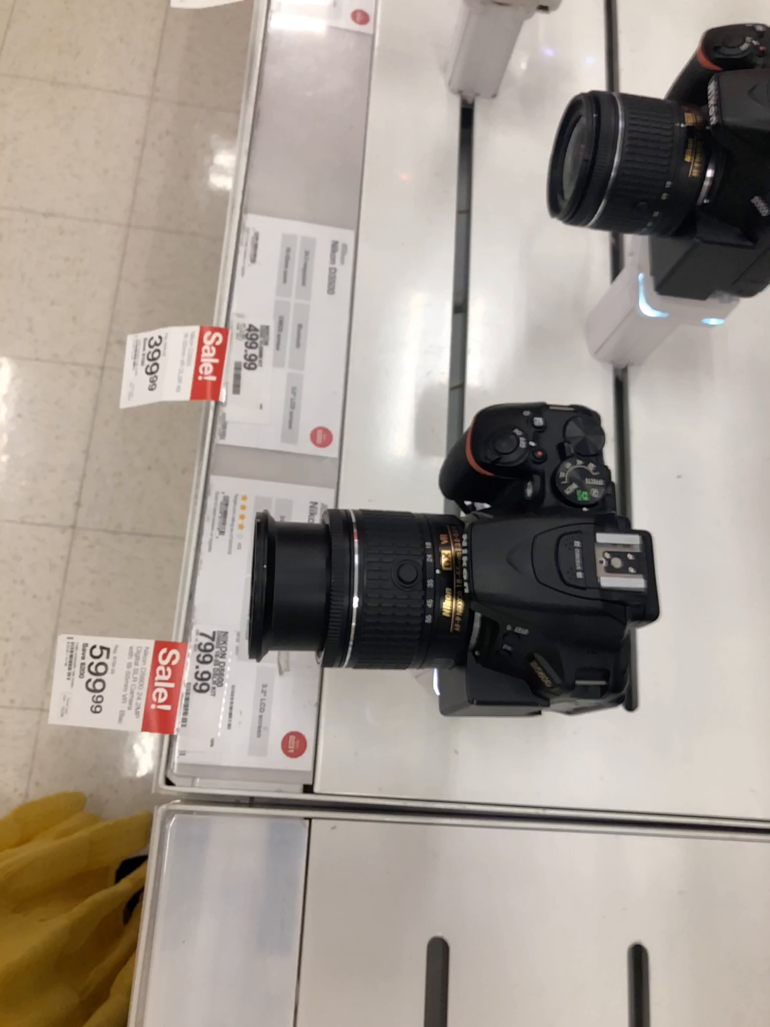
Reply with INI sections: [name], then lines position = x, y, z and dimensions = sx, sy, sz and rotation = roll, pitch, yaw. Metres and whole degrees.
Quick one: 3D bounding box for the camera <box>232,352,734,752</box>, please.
[camera]
position = 0.032, 0.023, 0.343
dimensions = 0.170, 0.090, 0.130
rotation = 5, 72, -7
